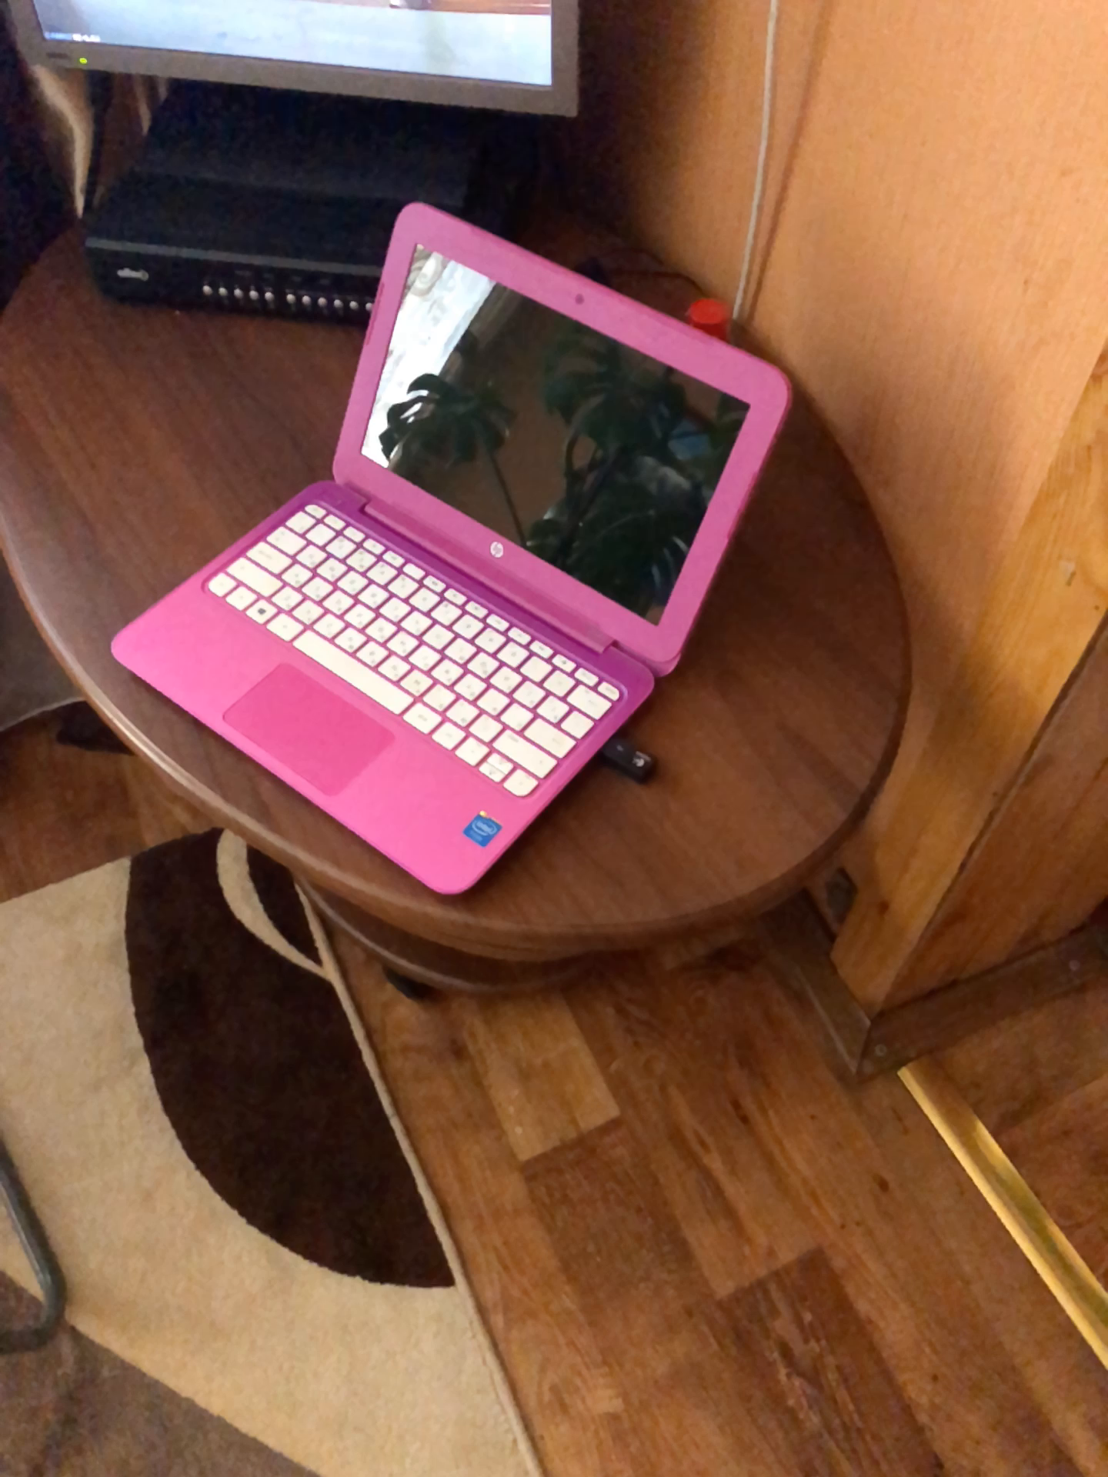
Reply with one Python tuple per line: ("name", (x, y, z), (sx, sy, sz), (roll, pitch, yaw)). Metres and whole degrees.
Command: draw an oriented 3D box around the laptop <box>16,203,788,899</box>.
("laptop", (-0.073, -0.124, 0.700), (0.279, 0.150, 0.296), (33, 61, 21))
